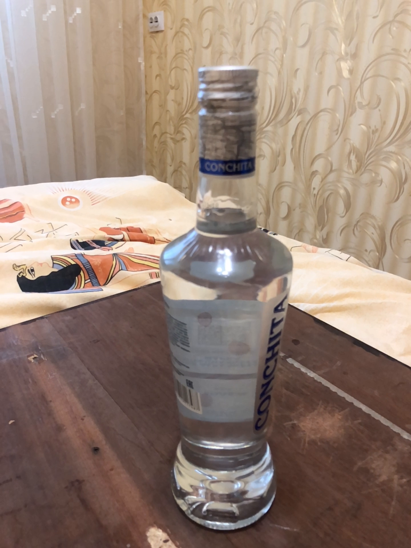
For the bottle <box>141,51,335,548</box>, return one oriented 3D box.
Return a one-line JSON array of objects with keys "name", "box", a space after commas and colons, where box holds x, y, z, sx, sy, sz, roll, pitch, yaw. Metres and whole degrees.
[{"name": "bottle", "box": [0.017, 0.023, 0.265, 0.075, 0.273, 0.077, 1, 24, -1]}]
